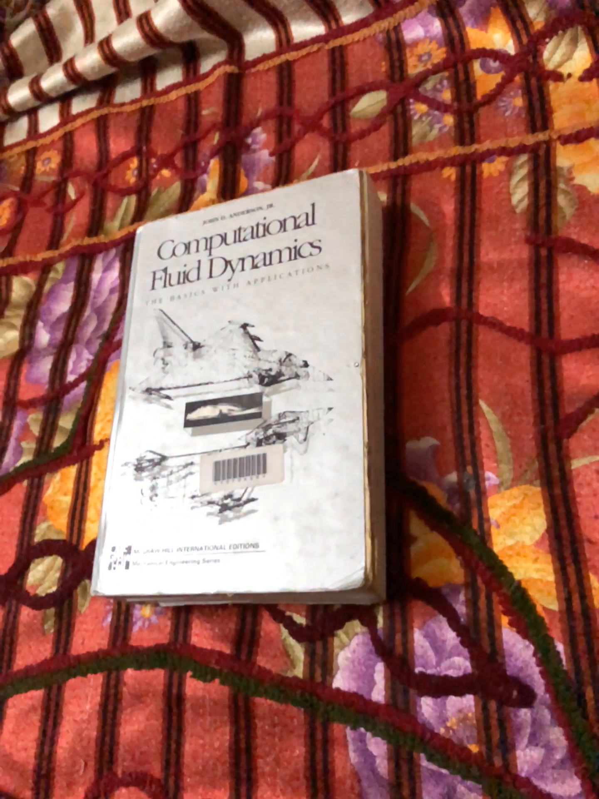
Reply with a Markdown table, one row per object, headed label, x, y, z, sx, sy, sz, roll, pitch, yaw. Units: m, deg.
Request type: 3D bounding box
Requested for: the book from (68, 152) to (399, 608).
| label | x | y | z | sx | sy | sz | roll | pitch | yaw |
| --- | --- | --- | --- | --- | --- | --- | --- | --- | --- |
| book | -0.033 | -0.007 | 0.367 | 0.158 | 0.046 | 0.229 | -8 | 68 | 23 |
